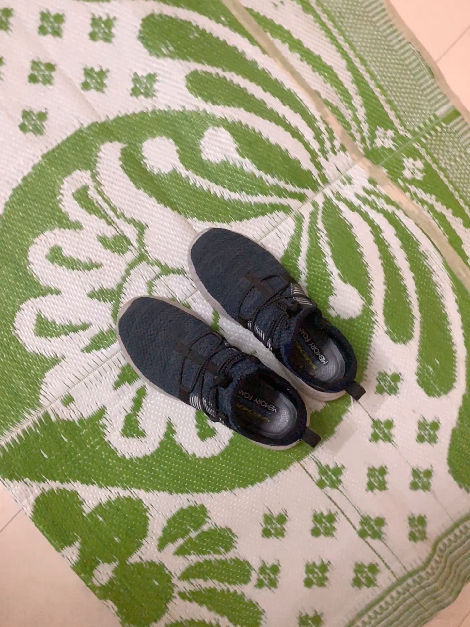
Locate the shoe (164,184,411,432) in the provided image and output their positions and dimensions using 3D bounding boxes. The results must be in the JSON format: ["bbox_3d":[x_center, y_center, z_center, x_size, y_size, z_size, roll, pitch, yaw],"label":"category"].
[{"bbox_3d":[0.058,-0.003,0.604,0.300,0.100,0.110,44,81,-4],"label":"shoe"}]

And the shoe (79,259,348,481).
[{"bbox_3d":[-0.026,0.068,0.588,0.290,0.100,0.110,33,82,-5],"label":"shoe"}]
